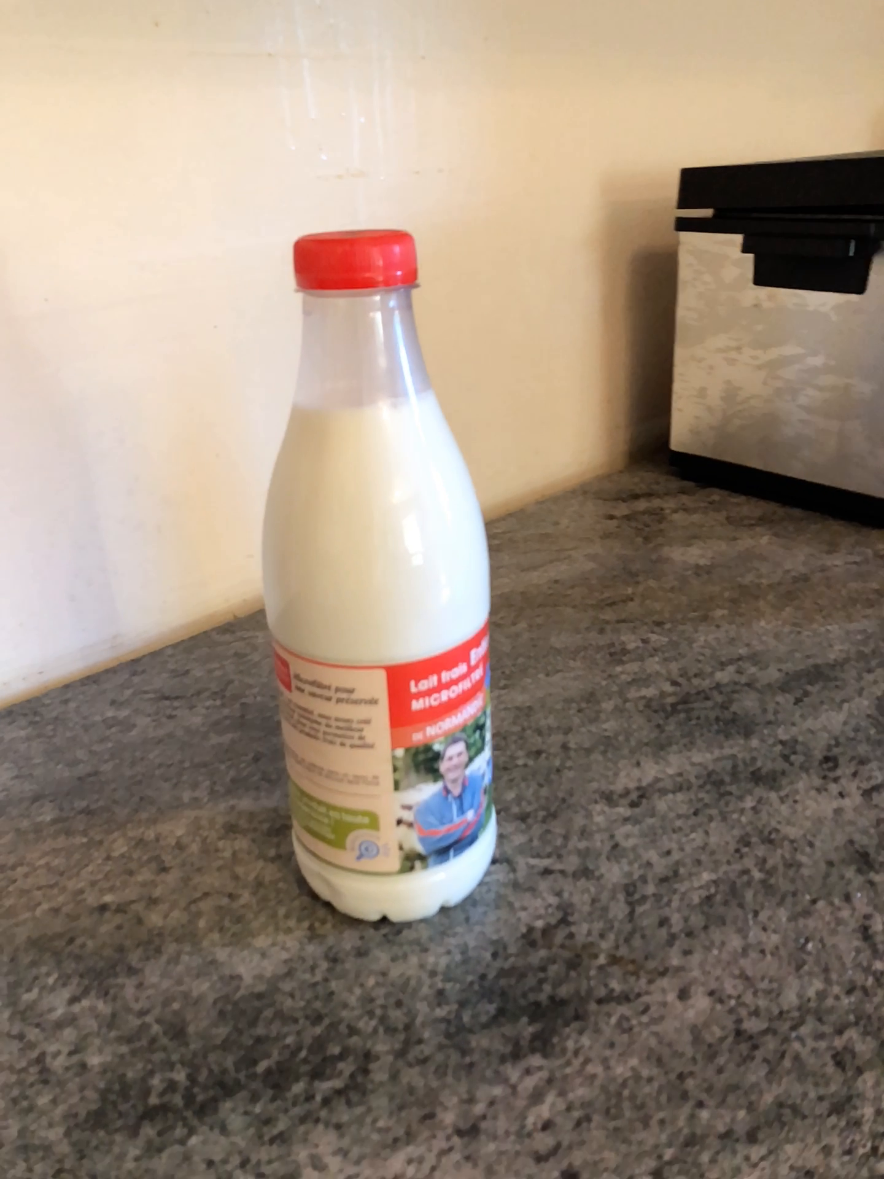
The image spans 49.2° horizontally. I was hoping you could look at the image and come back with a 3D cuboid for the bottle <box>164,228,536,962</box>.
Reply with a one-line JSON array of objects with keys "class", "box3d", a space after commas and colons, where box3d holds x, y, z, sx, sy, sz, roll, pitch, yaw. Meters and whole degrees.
[{"class": "bottle", "box3d": [-0.023, 0.000, 0.364, 0.080, 0.249, 0.091, 11, 27, 30]}]
